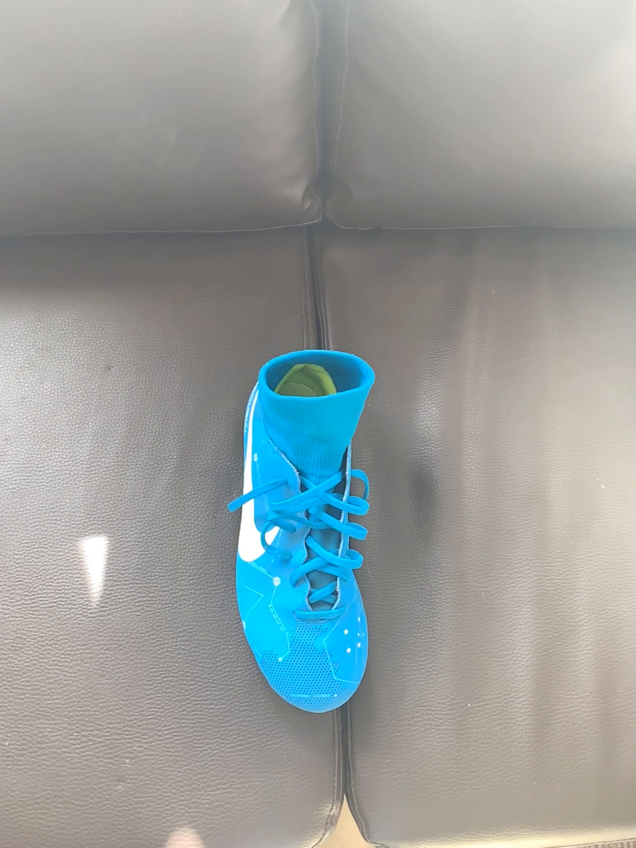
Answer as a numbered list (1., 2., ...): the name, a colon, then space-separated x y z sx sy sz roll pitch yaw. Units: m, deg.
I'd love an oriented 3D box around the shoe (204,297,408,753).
1. shoe: -0.015 0.060 0.421 0.098 0.120 0.251 -3 72 -4
